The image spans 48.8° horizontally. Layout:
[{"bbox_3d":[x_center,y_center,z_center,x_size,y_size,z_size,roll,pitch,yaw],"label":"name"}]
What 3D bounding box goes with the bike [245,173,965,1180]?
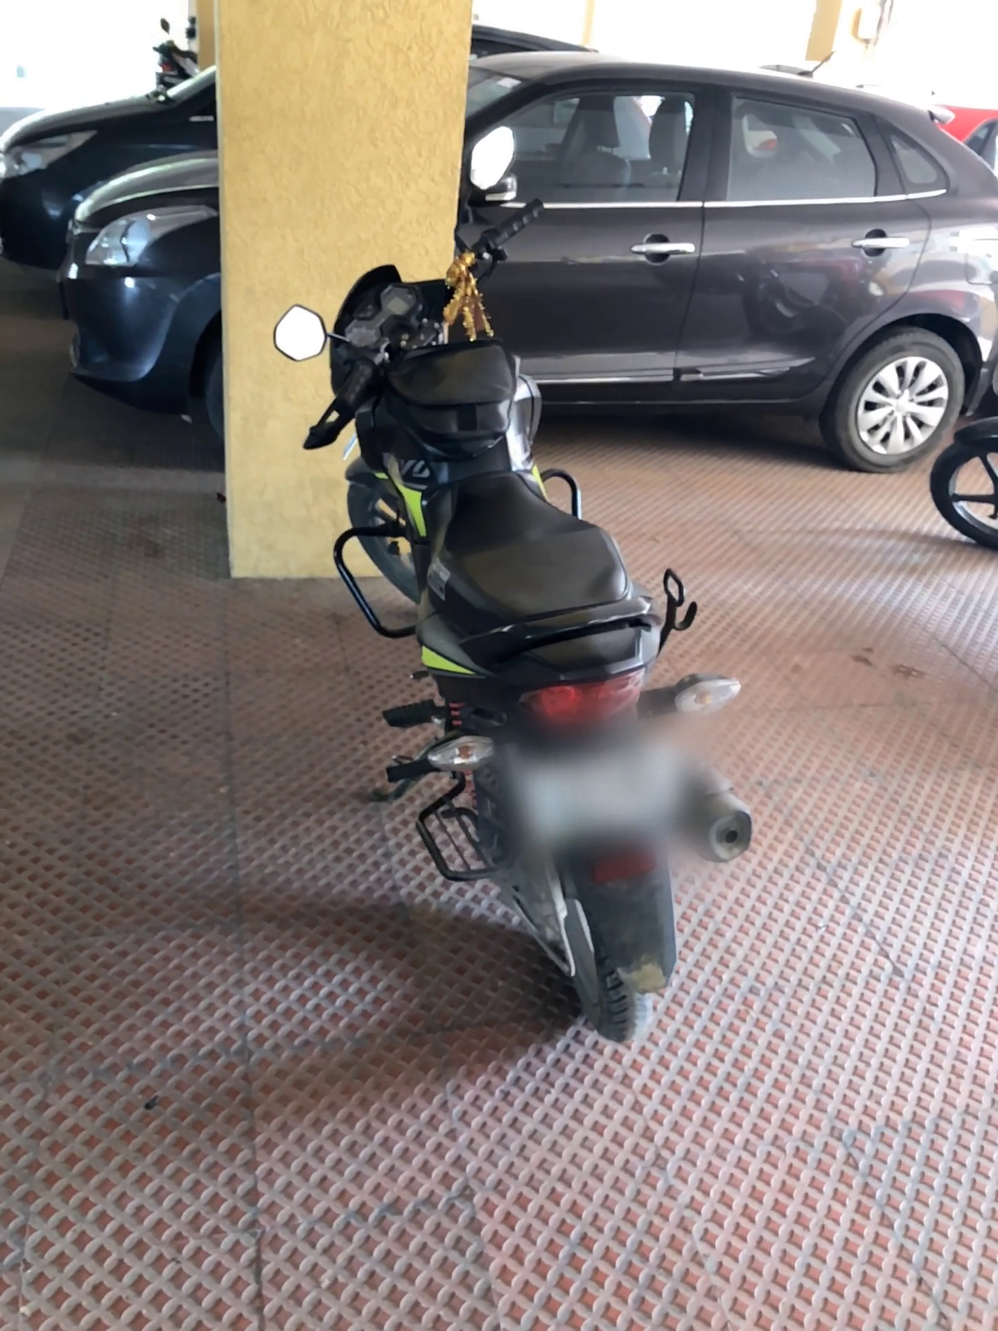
[{"bbox_3d":[-0.073,-0.190,2.031,0.717,1.088,1.628,-2,30,-14],"label":"bike"}]
